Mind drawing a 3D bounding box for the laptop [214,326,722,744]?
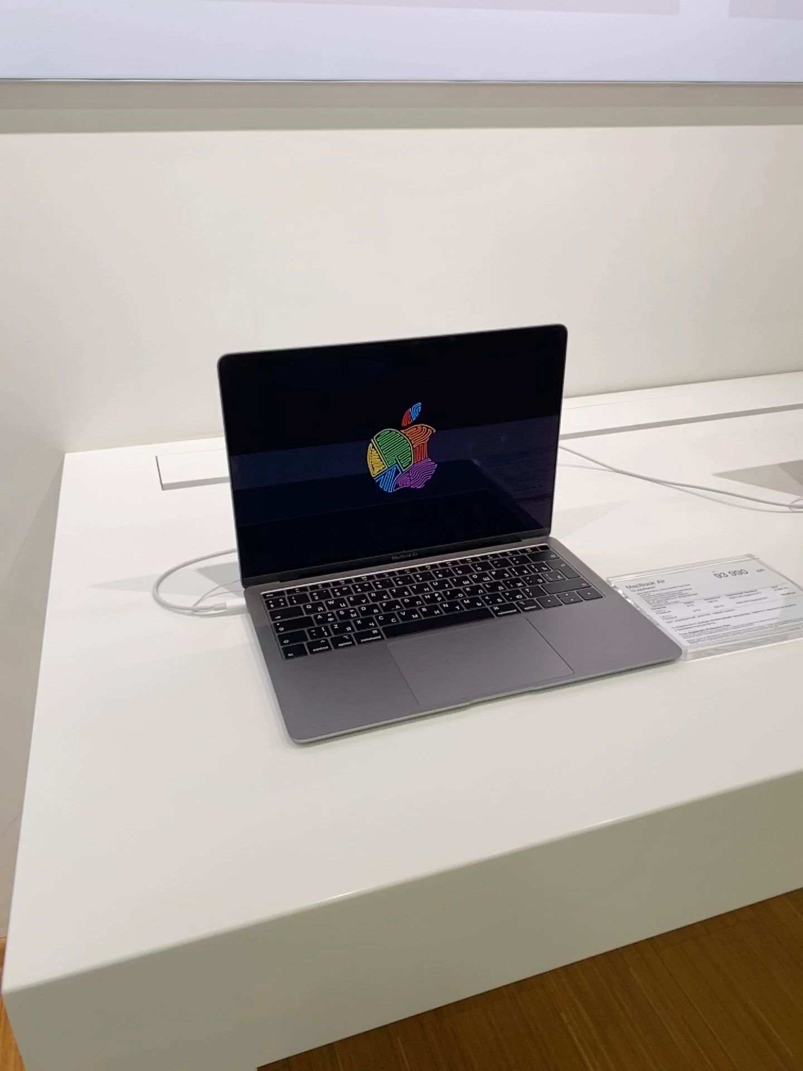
[{"bbox_3d":[0.032,-0.025,0.635,0.301,0.211,0.226,-8,25,-16],"label":"laptop"}]
